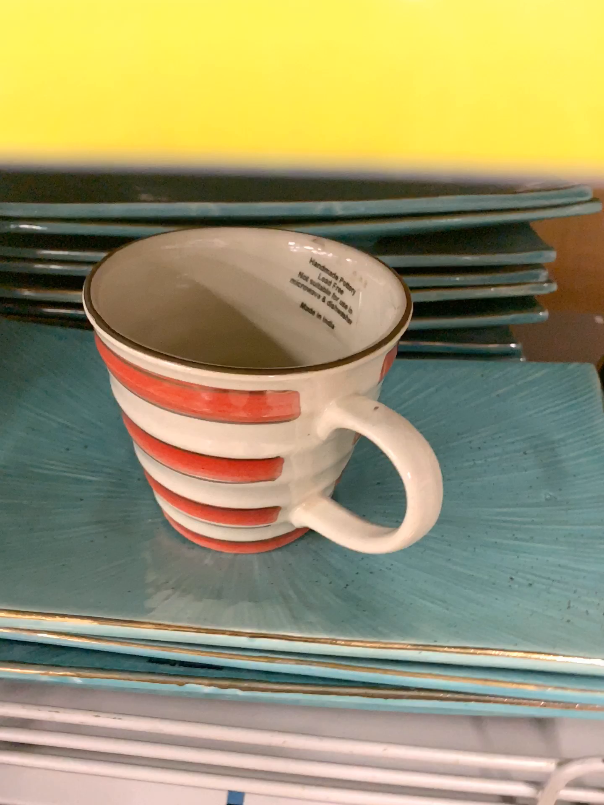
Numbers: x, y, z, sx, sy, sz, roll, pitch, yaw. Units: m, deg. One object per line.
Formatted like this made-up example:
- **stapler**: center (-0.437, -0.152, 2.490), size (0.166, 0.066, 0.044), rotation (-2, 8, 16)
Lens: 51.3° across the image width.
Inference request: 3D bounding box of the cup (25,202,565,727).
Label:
- **cup**: center (-0.010, 0.004, 0.212), size (0.100, 0.090, 0.130), rotation (-24, 45, -34)
